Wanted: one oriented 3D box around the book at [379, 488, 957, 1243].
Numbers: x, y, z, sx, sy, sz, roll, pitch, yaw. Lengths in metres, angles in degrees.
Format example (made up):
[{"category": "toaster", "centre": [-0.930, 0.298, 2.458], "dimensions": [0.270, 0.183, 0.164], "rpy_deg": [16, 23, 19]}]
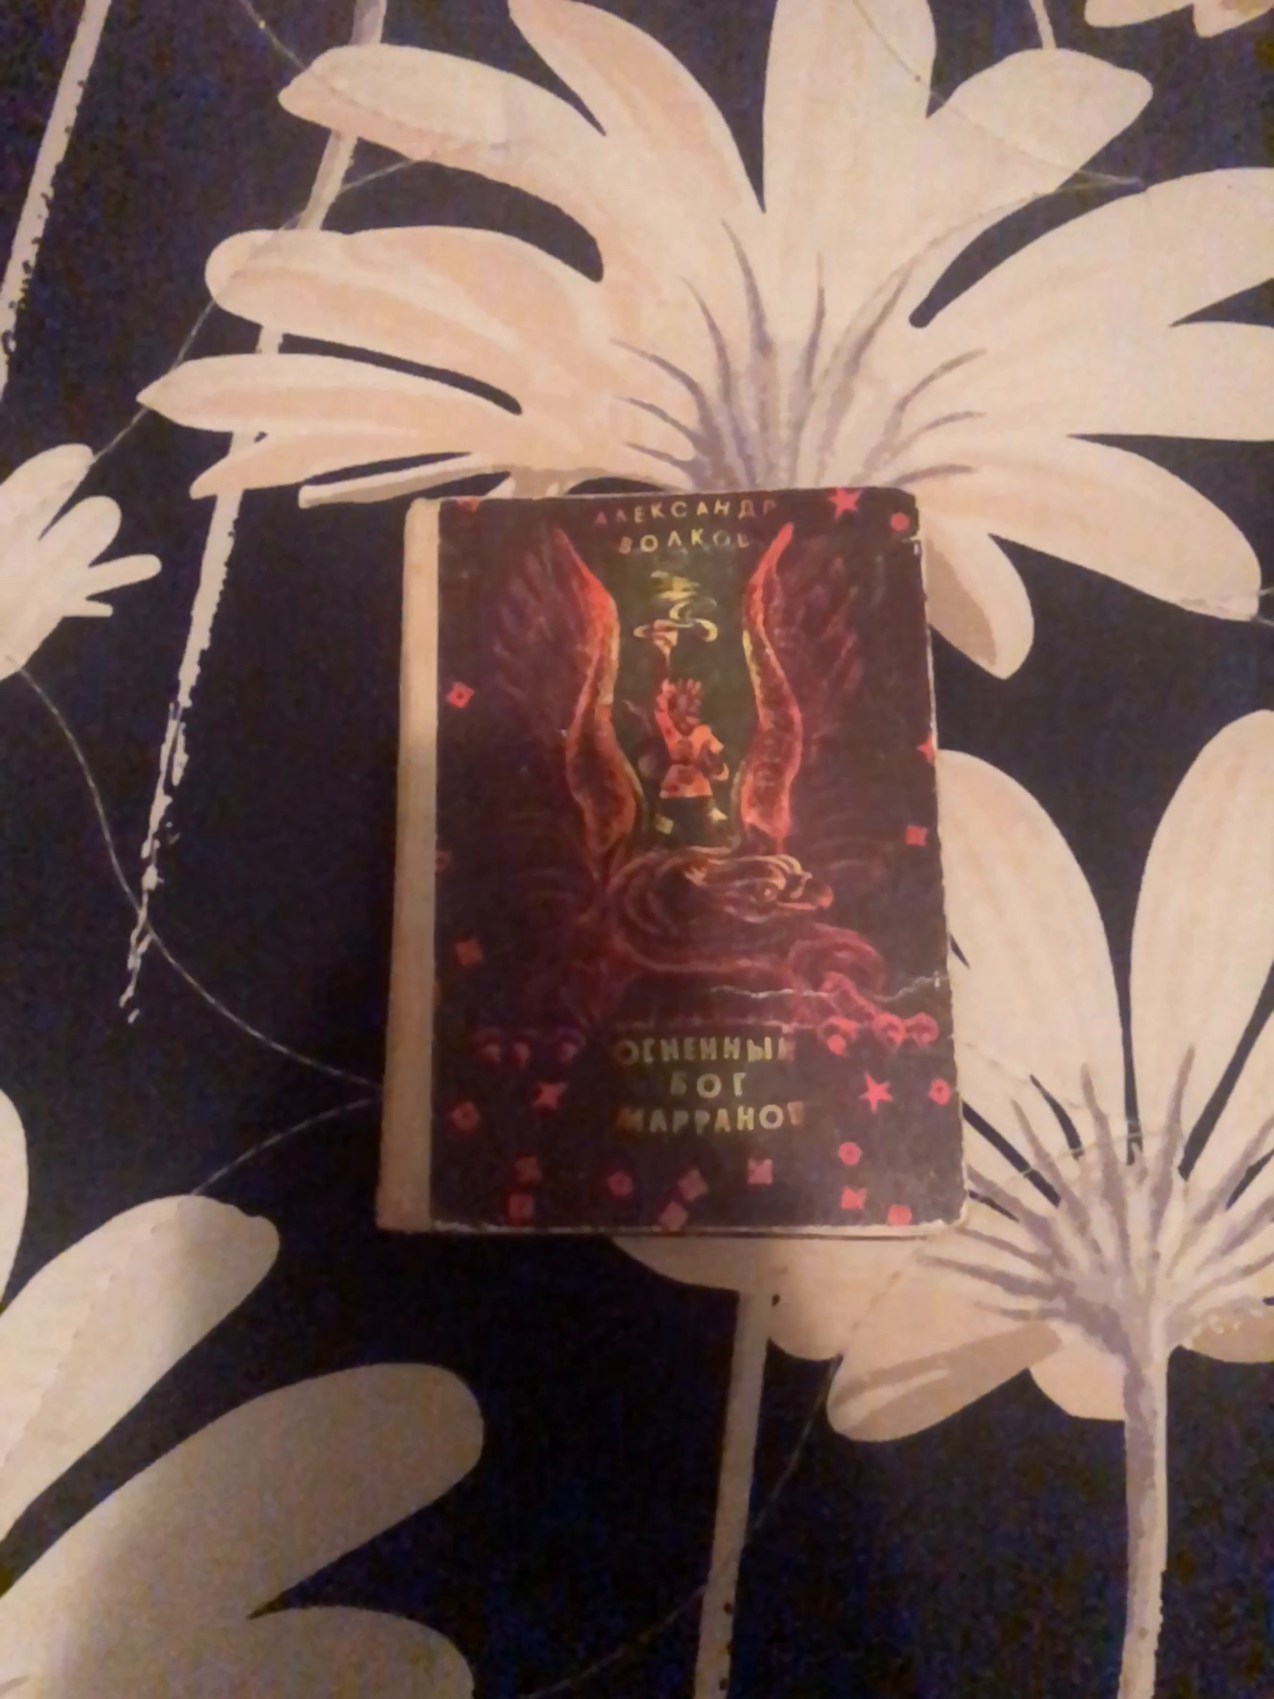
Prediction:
[{"category": "book", "centre": [0.008, 0.001, 0.400], "dimensions": [0.152, 0.020, 0.211], "rpy_deg": [0, 79, 1]}]
